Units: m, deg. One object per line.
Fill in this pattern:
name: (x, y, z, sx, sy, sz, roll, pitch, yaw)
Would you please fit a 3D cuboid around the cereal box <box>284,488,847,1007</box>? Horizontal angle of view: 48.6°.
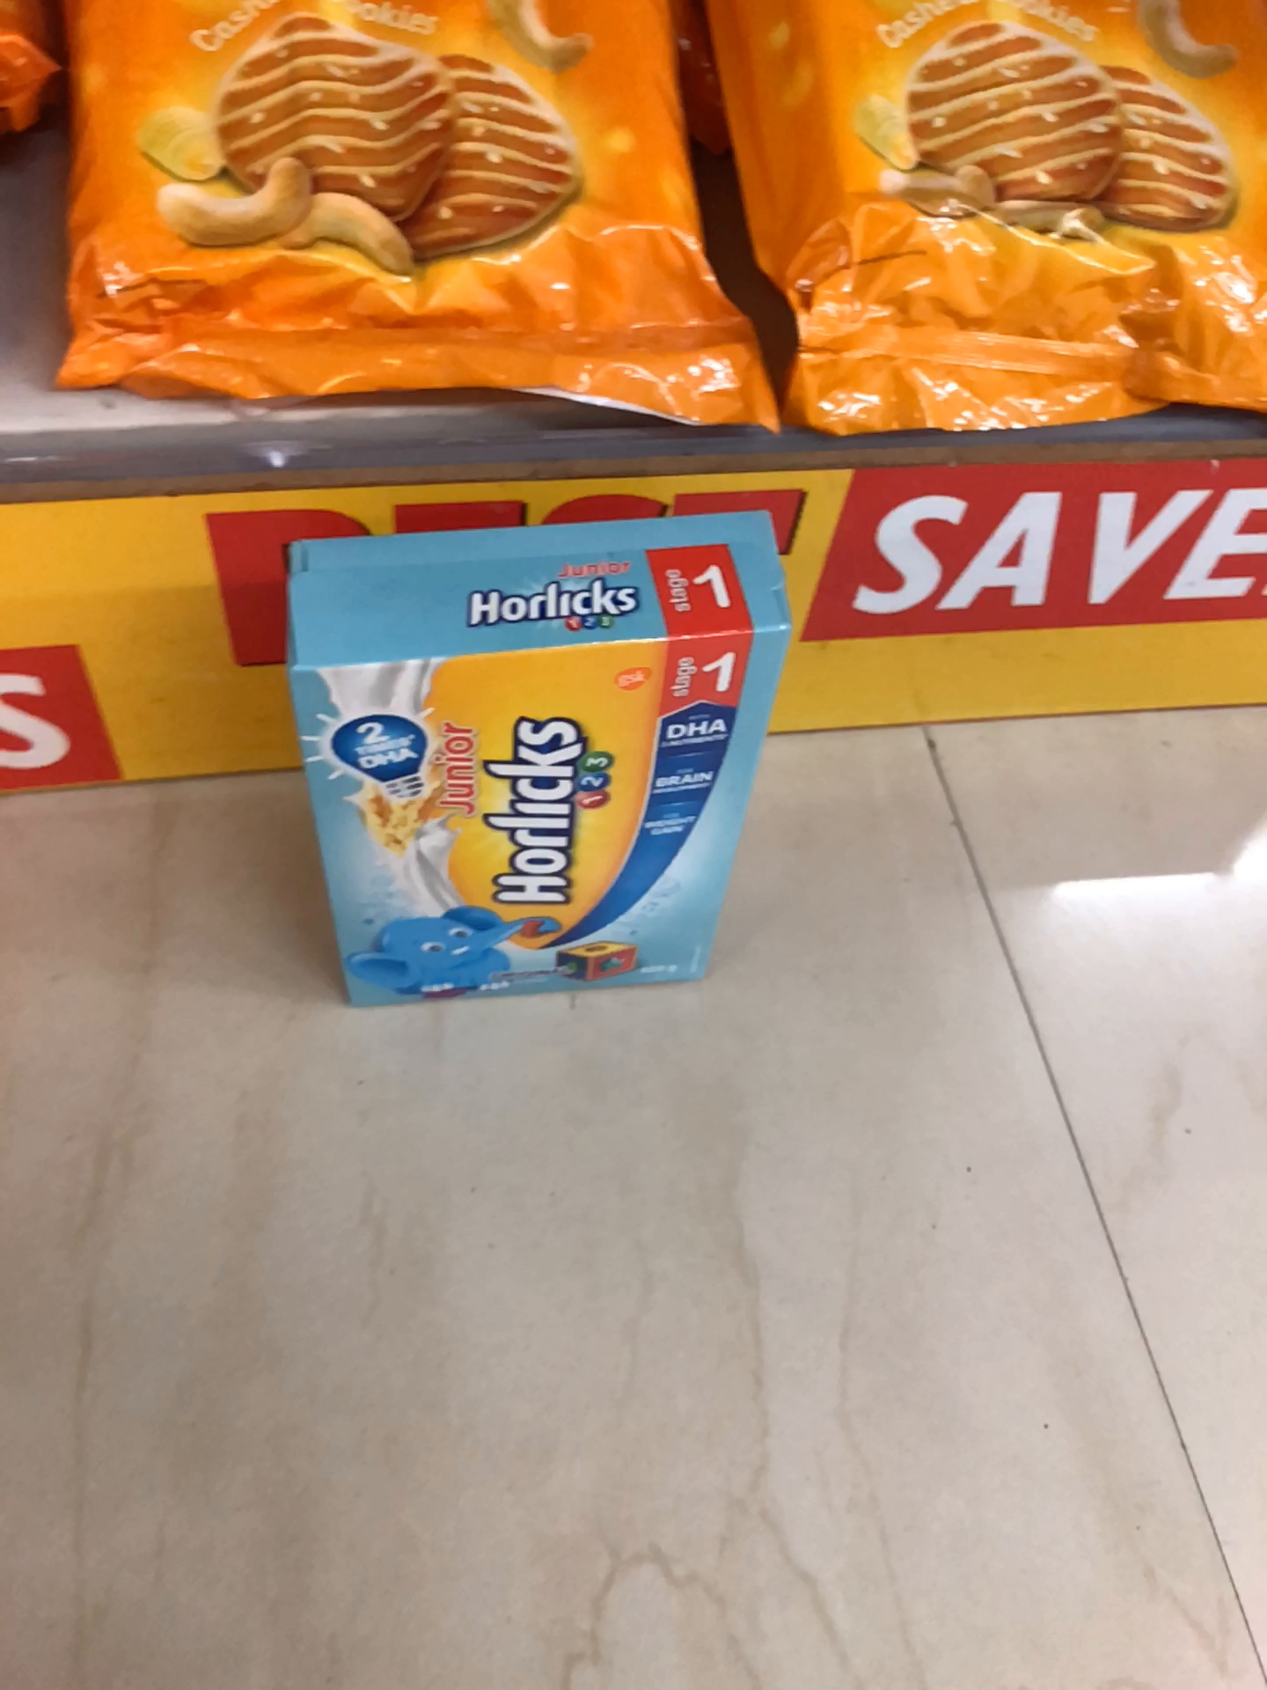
cereal box: (-0.026, -0.020, 0.445, 0.140, 0.199, 0.050, -3, 58, -7)
